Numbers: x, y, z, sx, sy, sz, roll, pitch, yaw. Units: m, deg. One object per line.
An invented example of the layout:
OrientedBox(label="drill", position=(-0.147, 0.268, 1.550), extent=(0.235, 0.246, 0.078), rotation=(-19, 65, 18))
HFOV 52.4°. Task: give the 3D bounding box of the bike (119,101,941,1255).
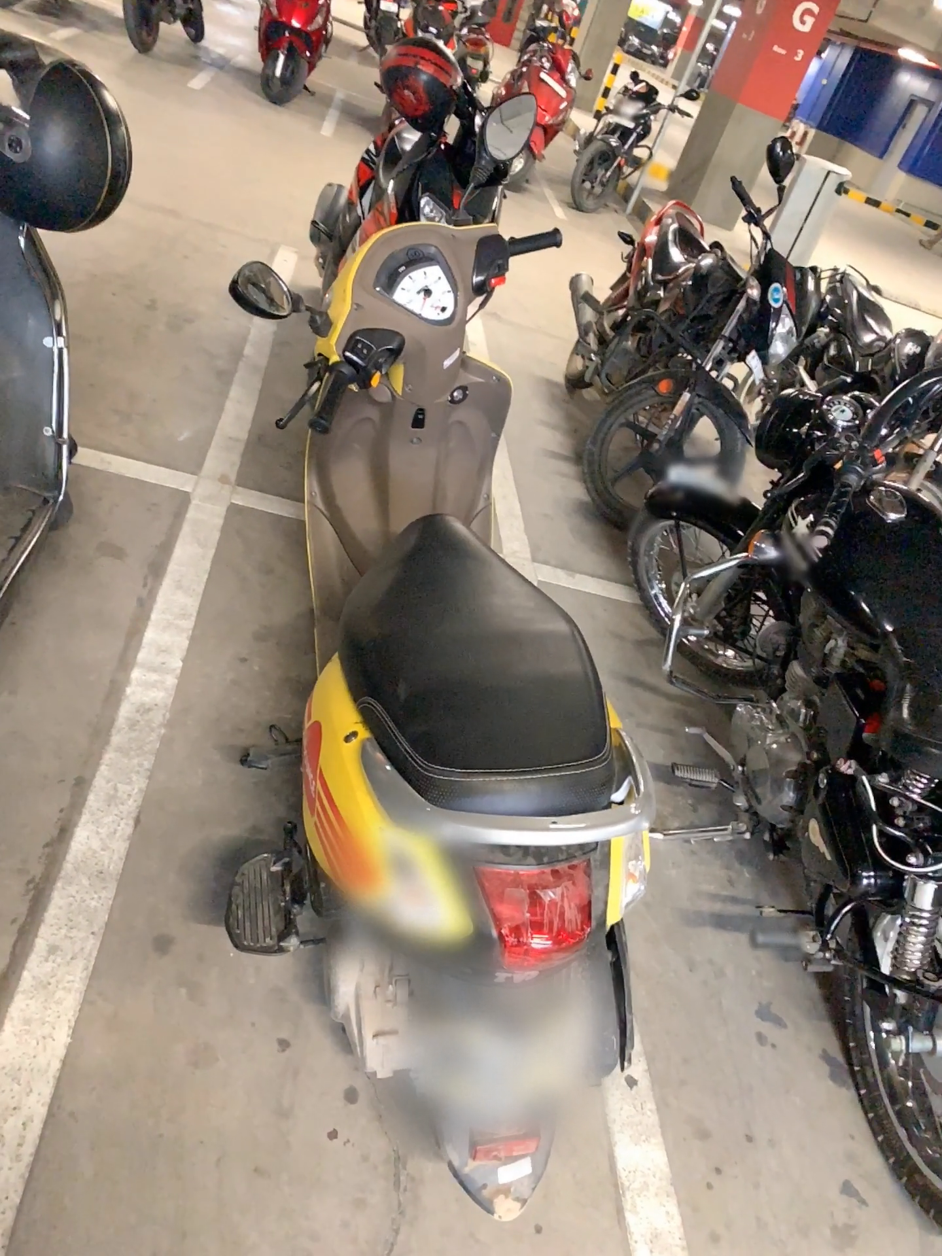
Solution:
OrientedBox(label="bike", position=(-0.133, -0.119, 1.653), extent=(0.567, 1.048, 1.711), rotation=(10, 34, -19))
